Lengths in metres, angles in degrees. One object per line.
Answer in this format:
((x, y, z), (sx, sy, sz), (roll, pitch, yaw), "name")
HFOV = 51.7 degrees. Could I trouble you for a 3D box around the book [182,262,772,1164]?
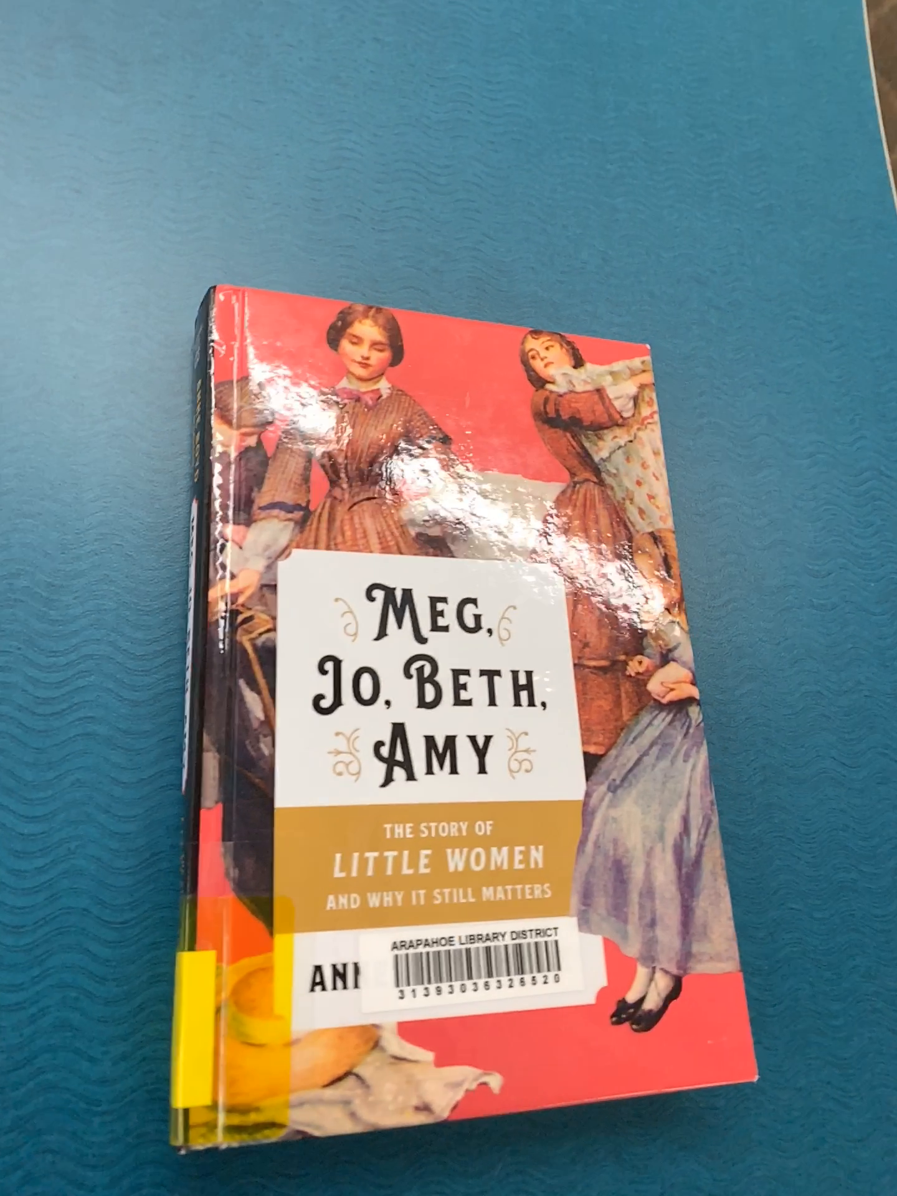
((0.002, 0.020, 0.262), (0.140, 0.040, 0.220), (2, 71, -17), "book")
